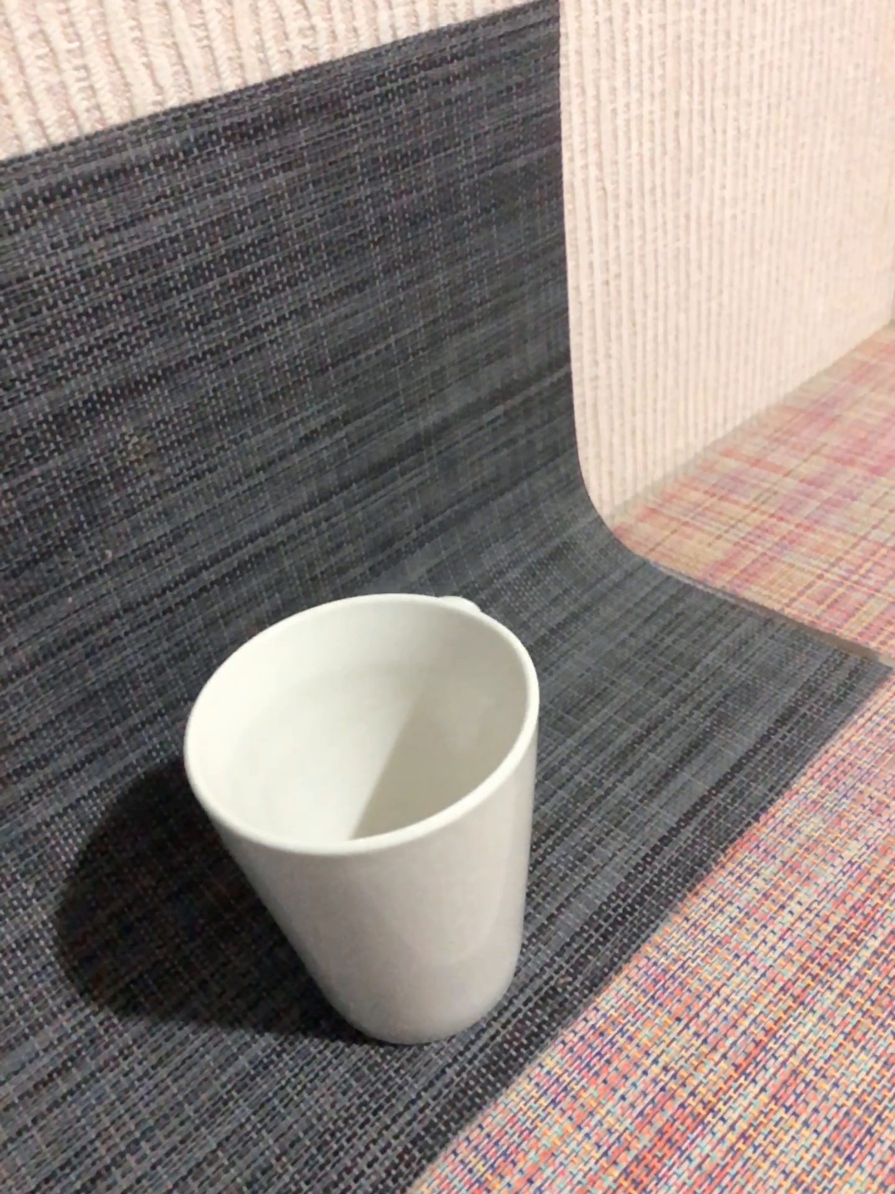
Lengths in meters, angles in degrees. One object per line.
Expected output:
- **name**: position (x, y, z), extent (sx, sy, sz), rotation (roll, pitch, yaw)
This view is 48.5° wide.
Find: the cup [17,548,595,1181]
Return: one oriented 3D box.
- **cup**: position (-0.021, 0.061, 0.260), extent (0.096, 0.096, 0.112), rotation (4, 39, 17)
